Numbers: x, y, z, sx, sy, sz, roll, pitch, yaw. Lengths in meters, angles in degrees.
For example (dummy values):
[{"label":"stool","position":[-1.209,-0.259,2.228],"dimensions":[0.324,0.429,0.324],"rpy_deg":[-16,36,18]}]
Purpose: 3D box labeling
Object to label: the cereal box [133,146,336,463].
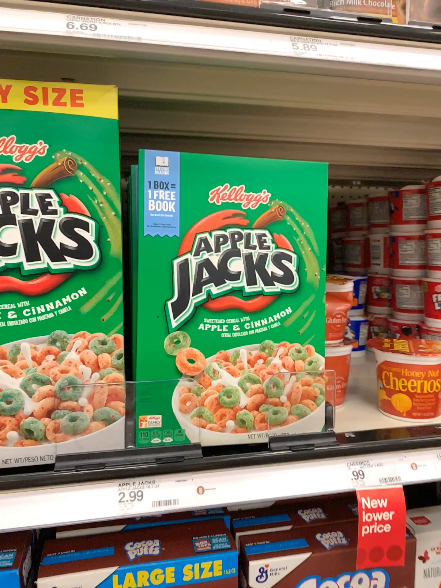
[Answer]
[{"label":"cereal box","position":[0.013,0.009,0.469],"dimensions":[0.200,0.290,0.060],"rpy_deg":[0,0,-13]}]
